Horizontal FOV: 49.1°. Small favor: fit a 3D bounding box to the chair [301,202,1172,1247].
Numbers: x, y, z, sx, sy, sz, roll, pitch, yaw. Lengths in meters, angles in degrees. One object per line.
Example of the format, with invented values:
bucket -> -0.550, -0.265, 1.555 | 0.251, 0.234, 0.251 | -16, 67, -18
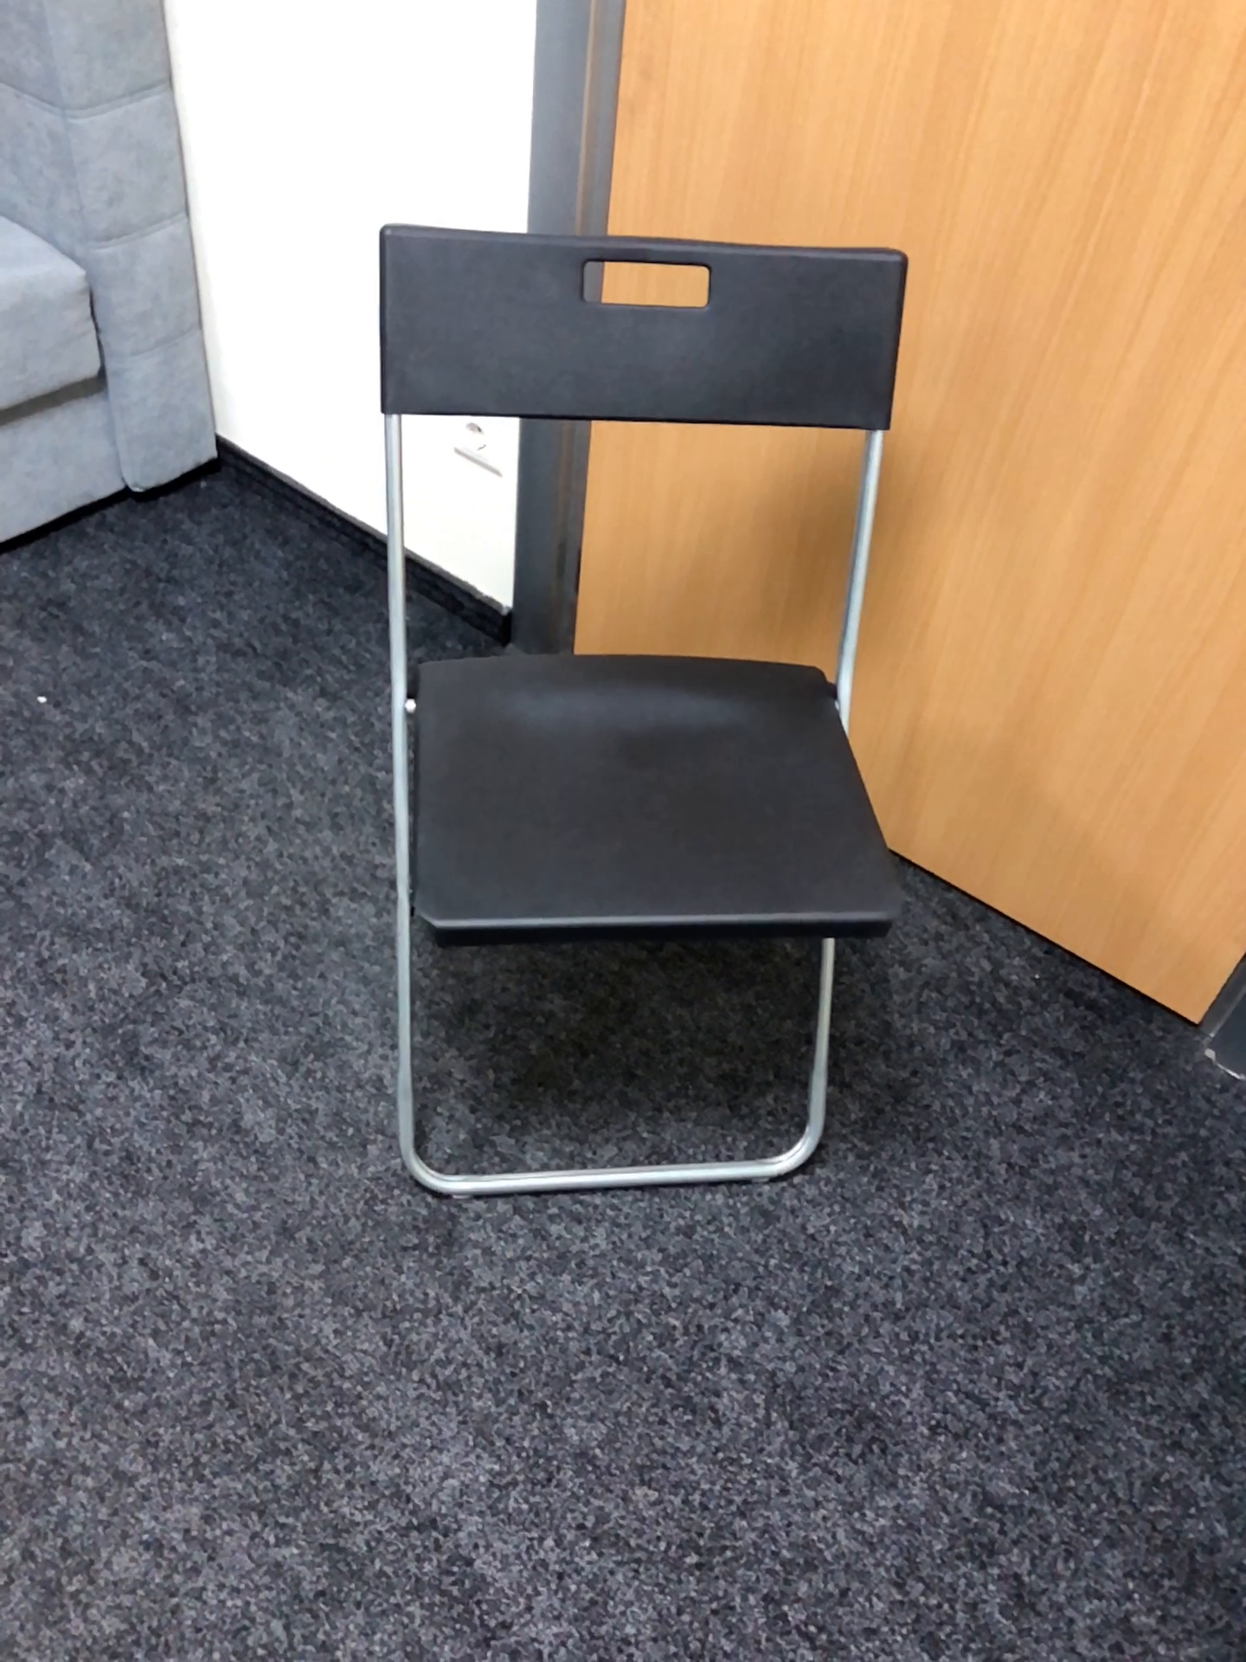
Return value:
chair -> 0.016, -0.054, 1.162 | 0.480, 0.725, 0.483 | 0, 46, -8
